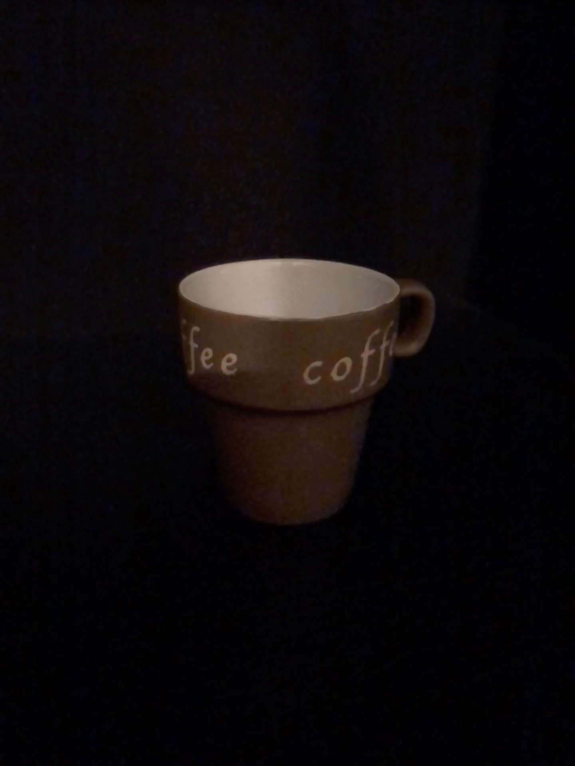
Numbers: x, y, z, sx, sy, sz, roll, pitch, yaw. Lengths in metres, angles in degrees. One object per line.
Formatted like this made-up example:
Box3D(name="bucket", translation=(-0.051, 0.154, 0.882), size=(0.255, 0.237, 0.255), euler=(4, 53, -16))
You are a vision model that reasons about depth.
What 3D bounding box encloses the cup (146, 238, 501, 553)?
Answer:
Box3D(name="cup", translation=(0.010, -0.004, 0.256), size=(0.107, 0.082, 0.080), euler=(-11, 27, -24))
